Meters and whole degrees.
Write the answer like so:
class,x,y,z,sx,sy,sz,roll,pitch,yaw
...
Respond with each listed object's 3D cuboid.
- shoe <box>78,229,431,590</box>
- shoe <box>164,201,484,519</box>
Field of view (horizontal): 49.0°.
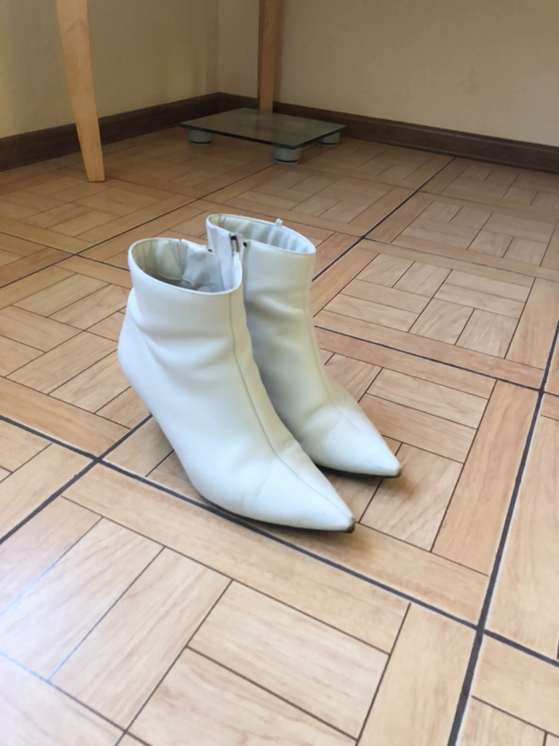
class,x,y,z,sx,sy,sz,roll,pitch,yaw
shoe,-0.034,0.010,0.473,0.254,0.154,0.100,30,40,34
shoe,0.016,-0.030,0.541,0.100,0.154,0.274,-21,41,-35
